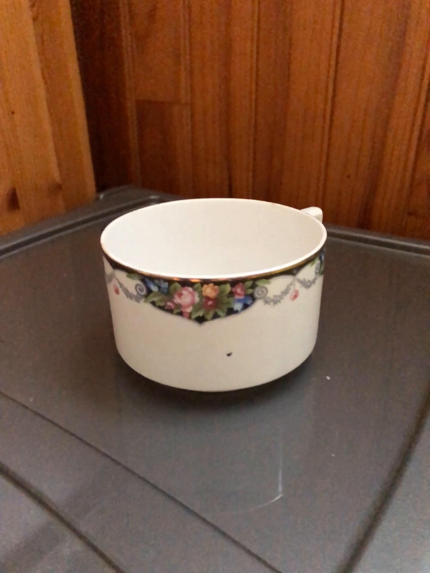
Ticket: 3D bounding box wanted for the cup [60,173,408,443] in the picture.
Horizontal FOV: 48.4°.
[{"bbox_3d":[0.012,-0.006,0.237,0.131,0.060,0.100,-24,35,-38],"label":"cup"}]
